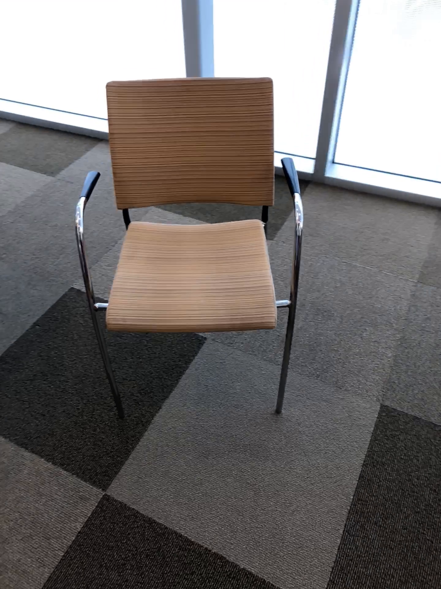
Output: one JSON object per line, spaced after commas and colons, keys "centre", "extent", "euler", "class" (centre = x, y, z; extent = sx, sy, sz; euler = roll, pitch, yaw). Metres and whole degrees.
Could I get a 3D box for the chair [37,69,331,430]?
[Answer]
{"centre": [-0.063, -0.094, 1.318], "extent": [0.515, 0.796, 0.548], "euler": [-2, 44, 0], "class": "chair"}
